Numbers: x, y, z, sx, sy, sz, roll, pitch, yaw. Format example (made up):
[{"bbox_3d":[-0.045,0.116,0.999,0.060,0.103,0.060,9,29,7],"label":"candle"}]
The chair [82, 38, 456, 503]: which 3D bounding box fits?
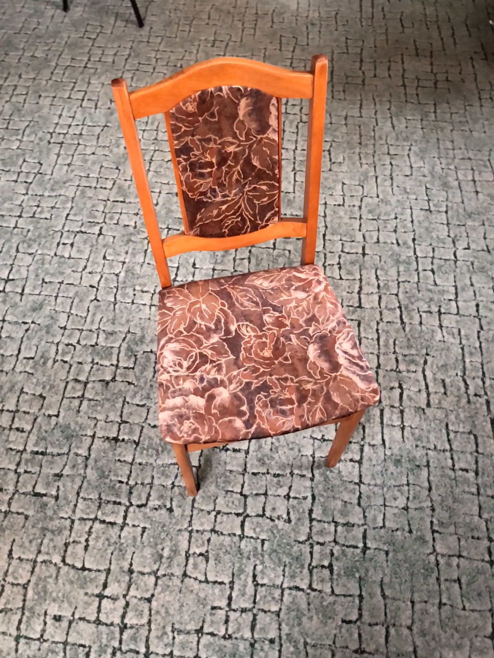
[{"bbox_3d":[-0.001,-0.040,1.209,0.480,0.875,0.553,-9,59,-4],"label":"chair"}]
